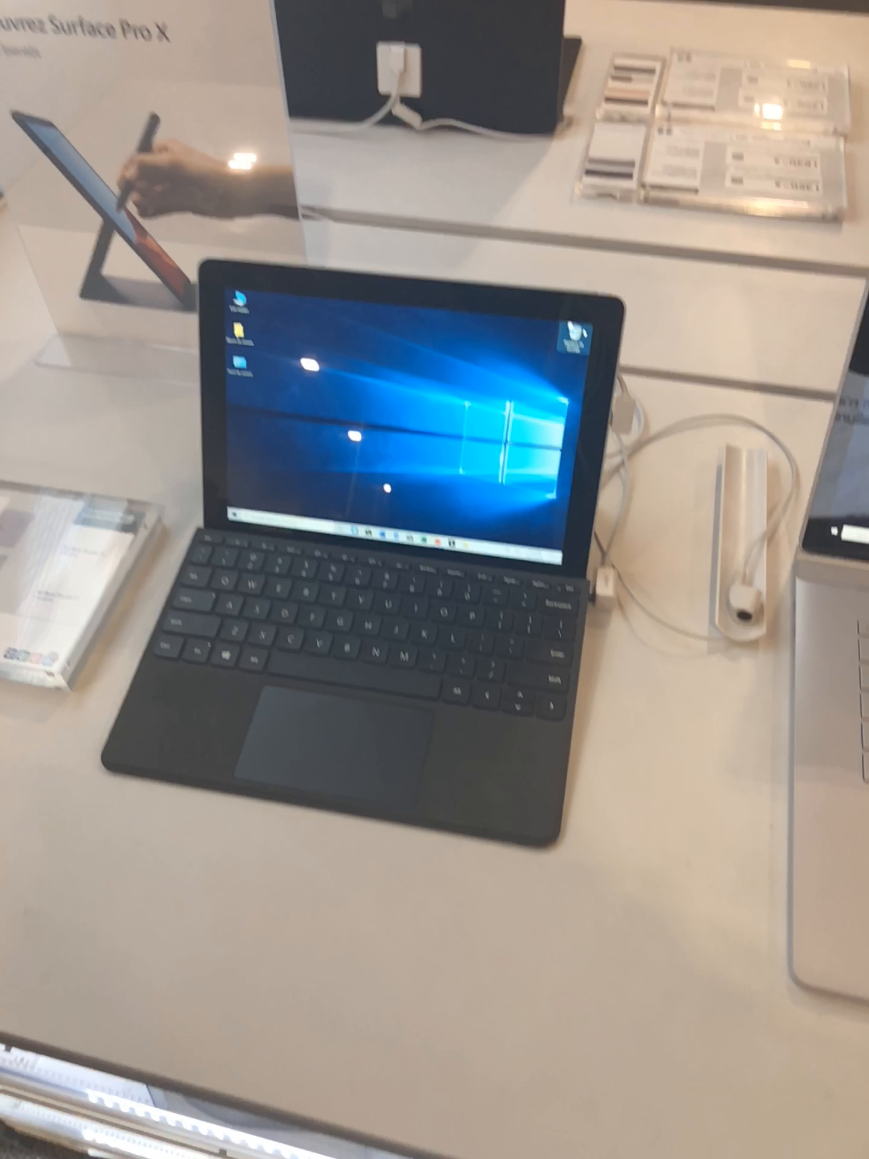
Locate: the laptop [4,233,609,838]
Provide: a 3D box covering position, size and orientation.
[{"bbox_3d":[-0.041,-0.033,0.511,0.236,0.140,0.251,8,54,6],"label":"laptop"}]
